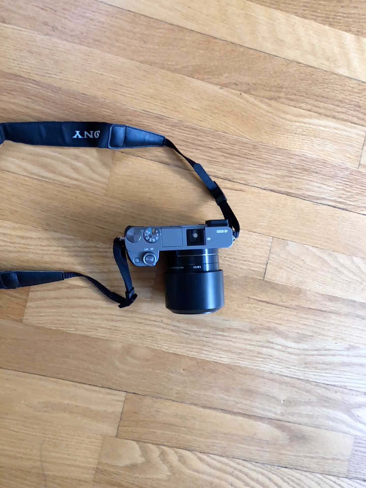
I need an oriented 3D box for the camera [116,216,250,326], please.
[{"bbox_3d":[-0.002,0.028,0.467,0.140,0.060,0.110,-3,90,-7],"label":"camera"}]
